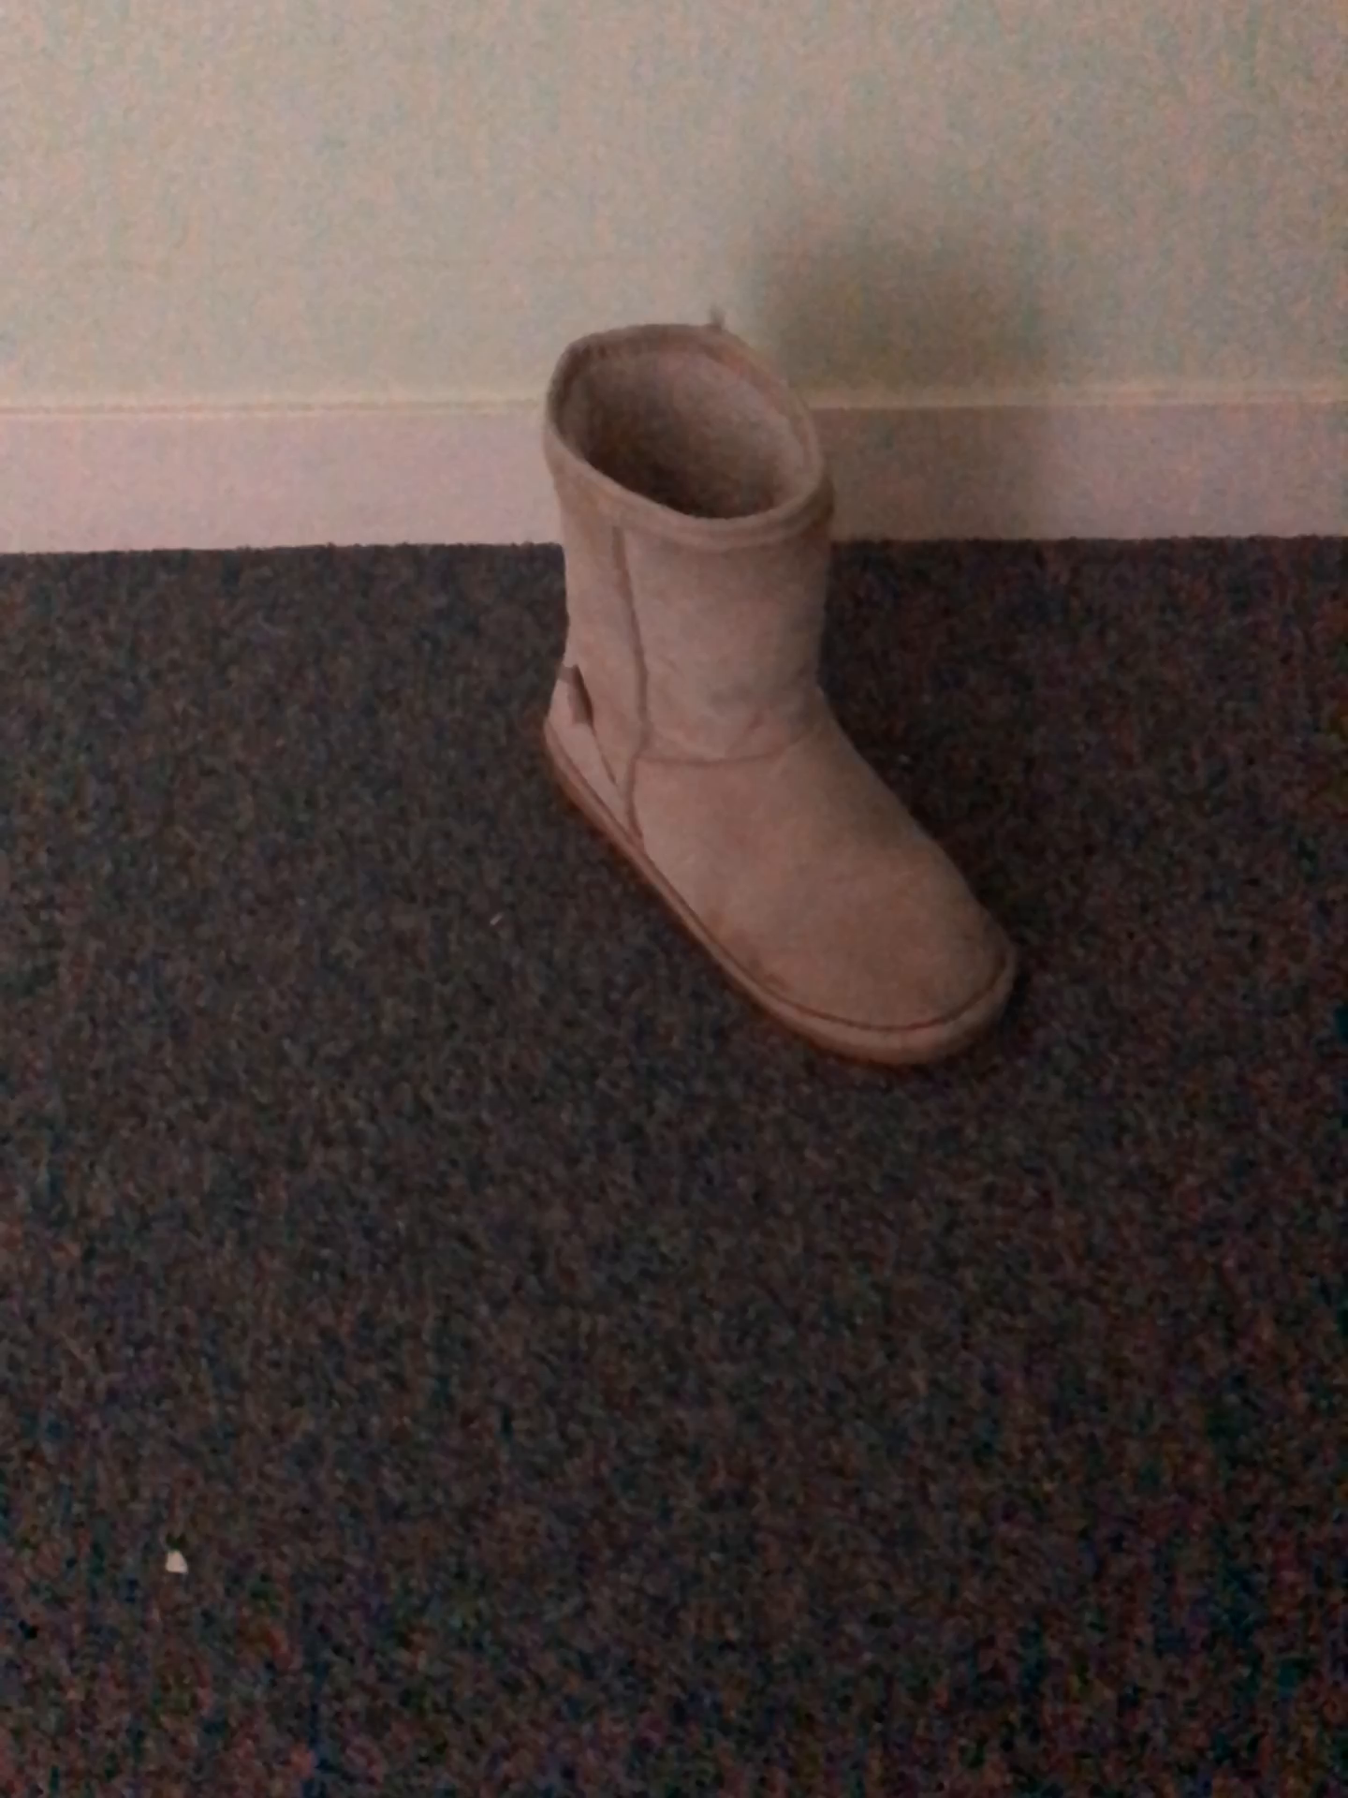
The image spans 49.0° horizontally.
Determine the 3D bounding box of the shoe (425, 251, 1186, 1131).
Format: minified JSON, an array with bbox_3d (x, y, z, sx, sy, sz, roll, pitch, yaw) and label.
[{"bbox_3d":[0.037,-0.084,0.598,0.120,0.209,0.270,-31,59,-19],"label":"shoe"}]
